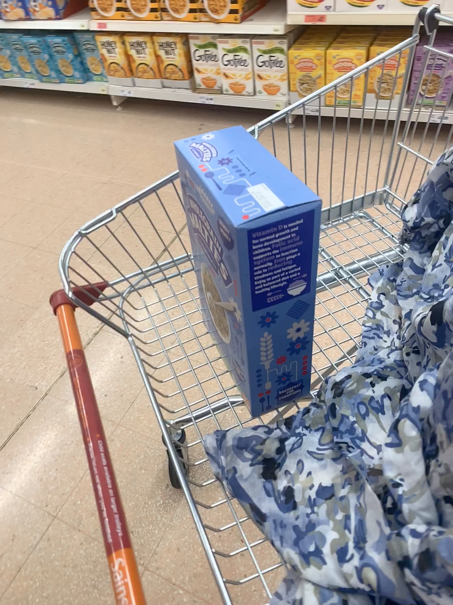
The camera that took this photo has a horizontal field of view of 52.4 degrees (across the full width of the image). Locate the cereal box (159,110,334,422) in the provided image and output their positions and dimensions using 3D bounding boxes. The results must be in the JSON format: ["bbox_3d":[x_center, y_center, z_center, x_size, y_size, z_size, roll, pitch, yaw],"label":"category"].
[{"bbox_3d":[0.018,-0.039,0.554,0.090,0.287,0.222,-19,46,-13],"label":"cereal box"}]
